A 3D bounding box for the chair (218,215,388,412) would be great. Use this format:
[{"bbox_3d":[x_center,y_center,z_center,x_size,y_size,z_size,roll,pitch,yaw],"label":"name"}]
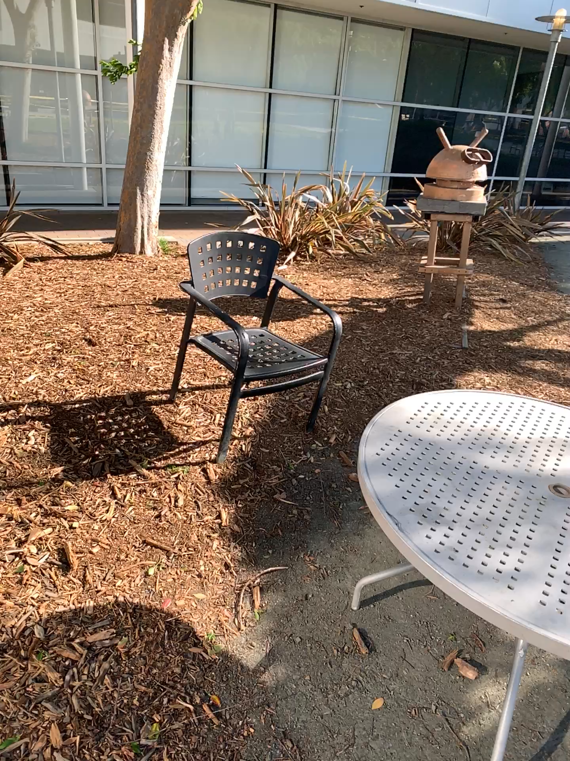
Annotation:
[{"bbox_3d":[0.061,-0.339,2.677,0.521,0.716,0.502,-15,32,-37],"label":"chair"}]
